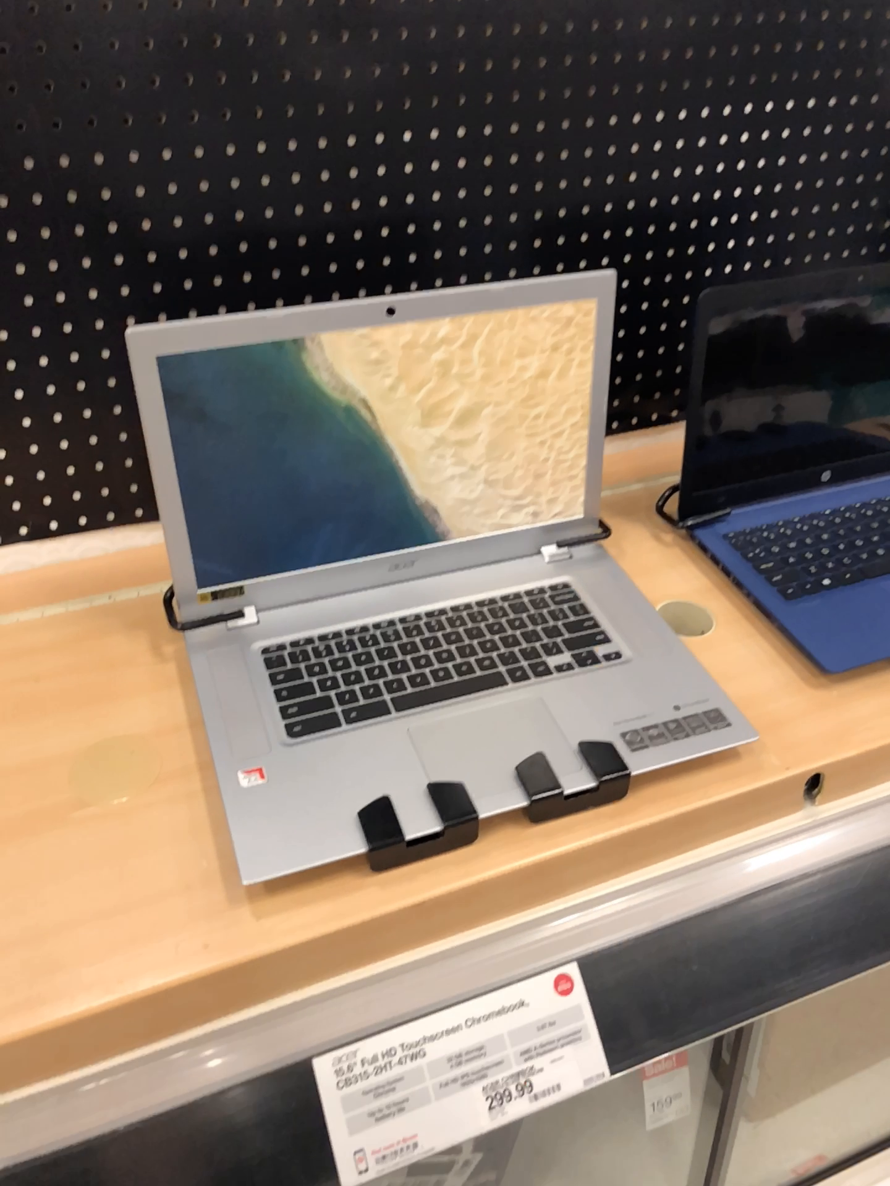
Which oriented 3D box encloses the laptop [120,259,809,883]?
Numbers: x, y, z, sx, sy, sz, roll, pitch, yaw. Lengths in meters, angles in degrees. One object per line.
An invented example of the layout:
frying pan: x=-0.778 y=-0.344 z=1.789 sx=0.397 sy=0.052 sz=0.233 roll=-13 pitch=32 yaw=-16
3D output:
laptop: x=-0.003 y=-0.047 z=0.703 sx=0.372 sy=0.246 sz=0.287 roll=-12 pitch=36 yaw=-16
